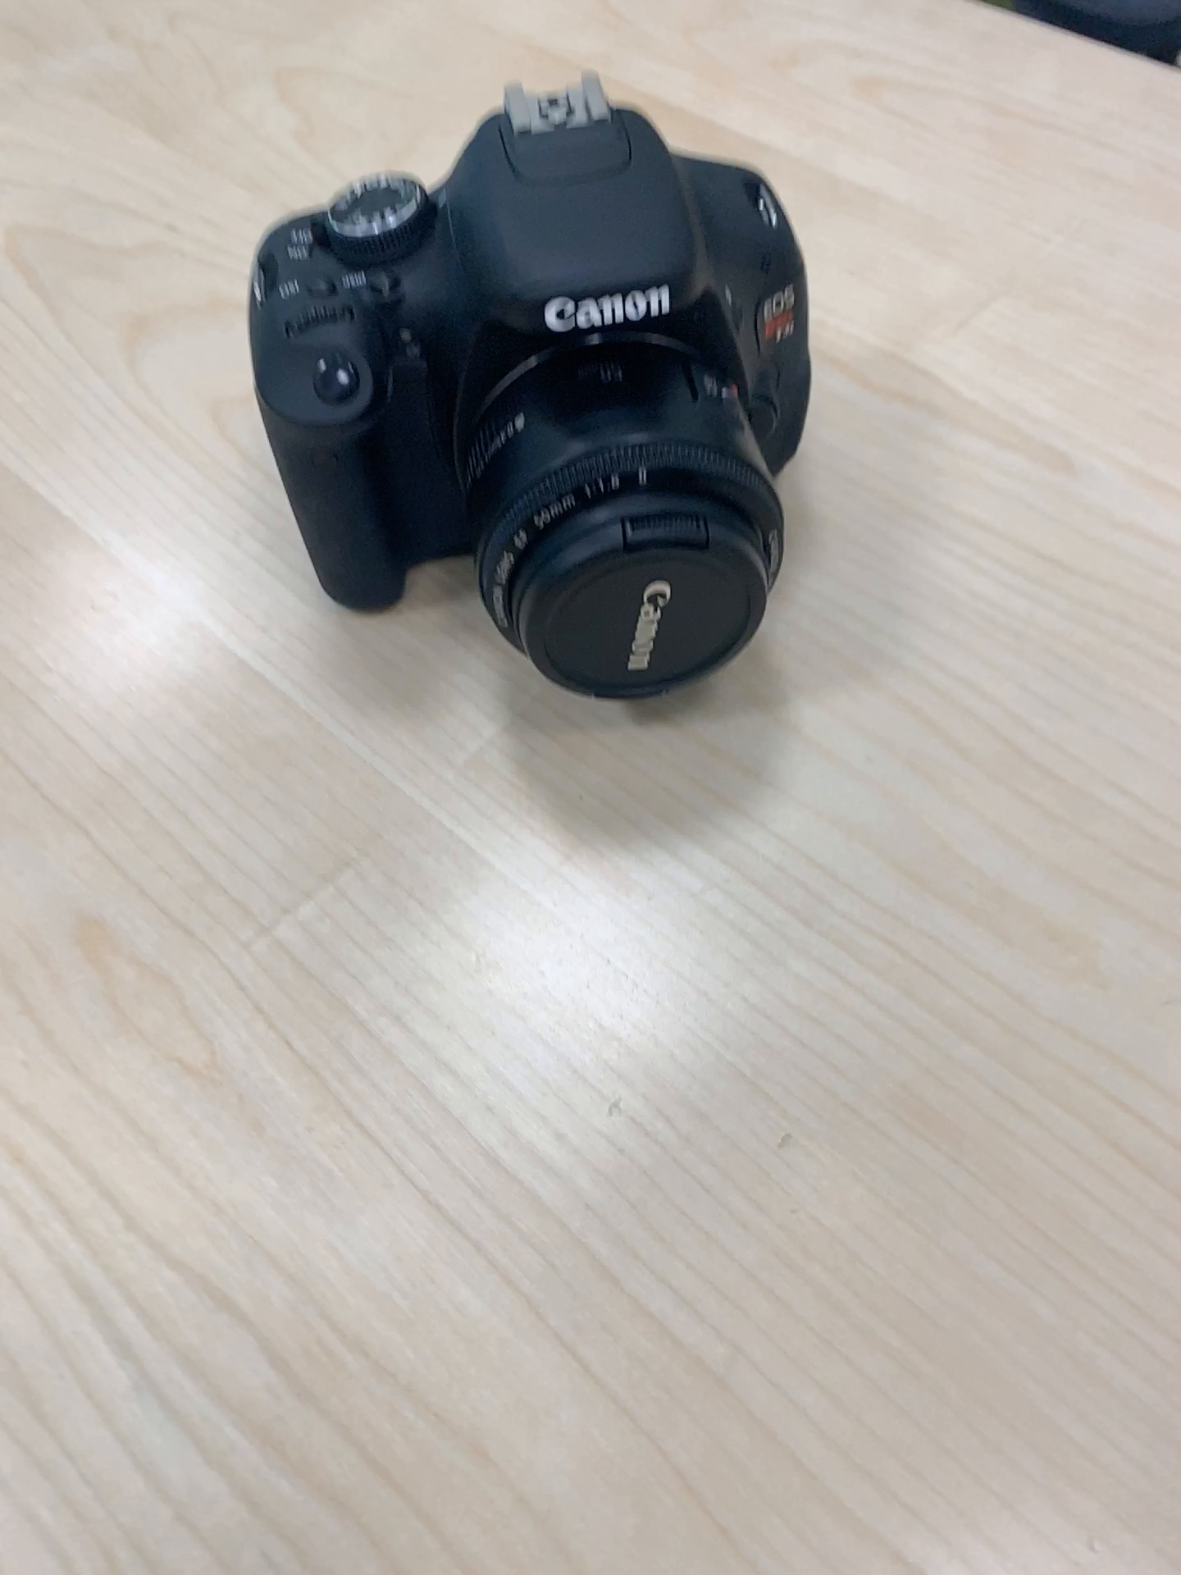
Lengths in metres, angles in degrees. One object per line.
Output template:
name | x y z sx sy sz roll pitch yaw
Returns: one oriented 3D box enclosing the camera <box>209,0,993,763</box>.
camera | -0.005 -0.091 0.271 0.130 0.090 0.120 -10 57 -2
